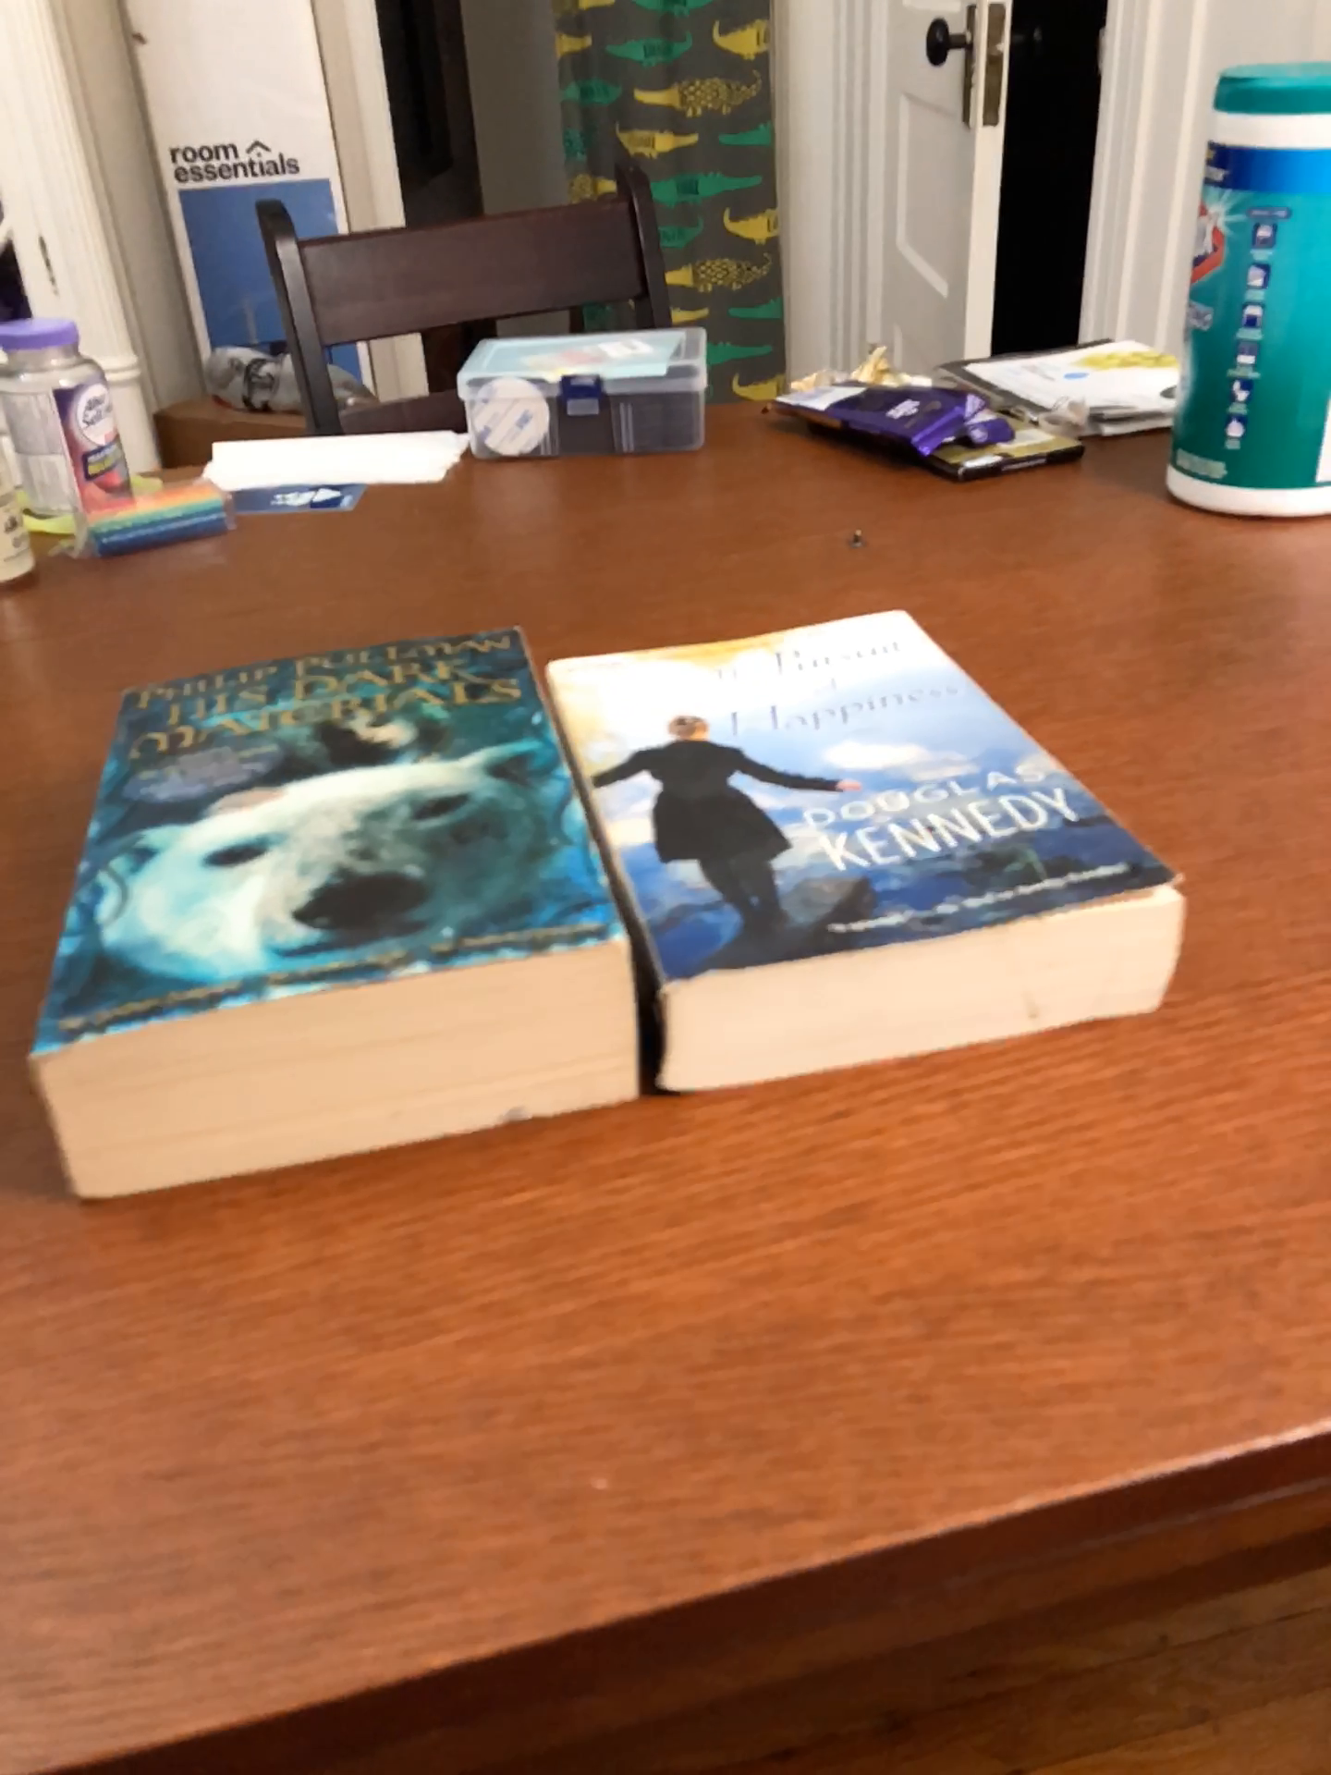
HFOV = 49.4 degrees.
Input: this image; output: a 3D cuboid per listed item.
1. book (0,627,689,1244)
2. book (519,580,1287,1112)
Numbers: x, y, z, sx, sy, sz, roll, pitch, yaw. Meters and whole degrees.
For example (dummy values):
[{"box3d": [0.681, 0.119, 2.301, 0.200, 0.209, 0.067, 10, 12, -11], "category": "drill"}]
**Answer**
[{"box3d": [-0.109, -0.007, 0.480, 0.180, 0.050, 0.251, -9, 32, -9], "category": "book"}, {"box3d": [0.057, -0.034, 0.498, 0.180, 0.040, 0.251, -9, 32, -9], "category": "book"}]
